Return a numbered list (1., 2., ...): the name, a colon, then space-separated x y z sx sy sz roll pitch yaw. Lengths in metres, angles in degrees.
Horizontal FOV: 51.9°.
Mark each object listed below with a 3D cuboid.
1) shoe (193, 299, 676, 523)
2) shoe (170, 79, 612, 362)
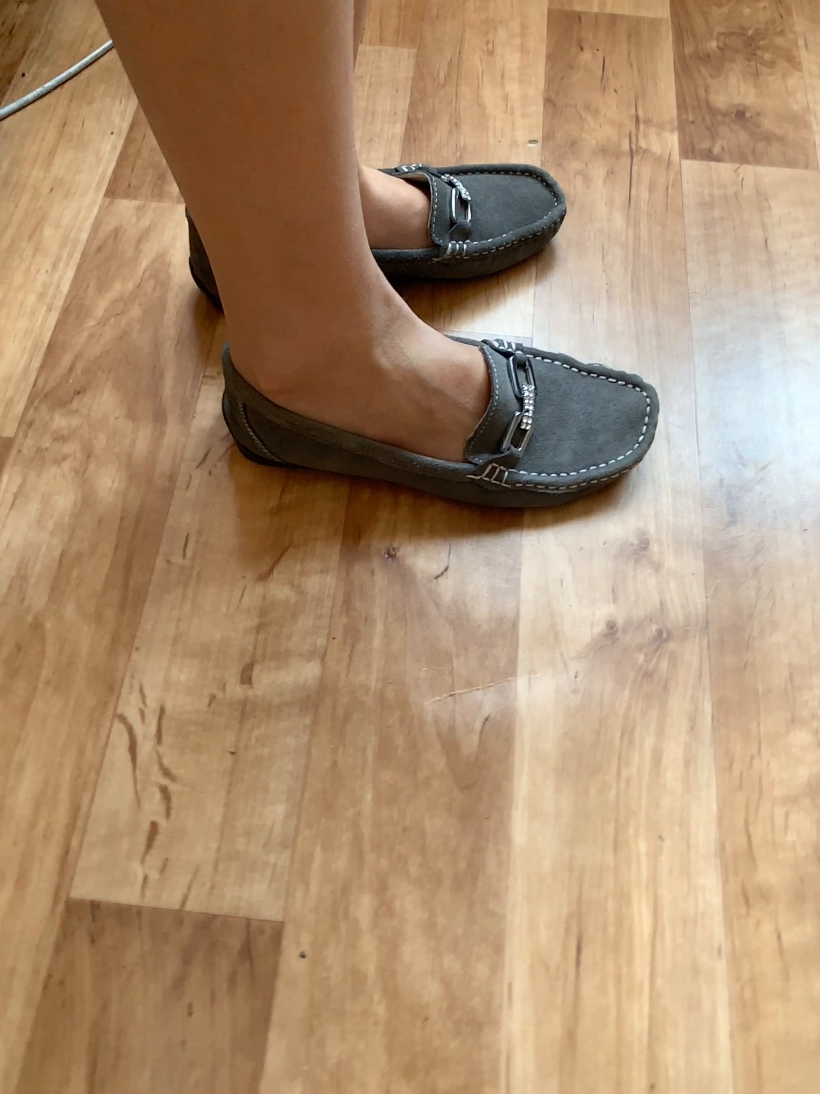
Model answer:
1. shoe: 0.014 -0.074 0.464 0.240 0.060 0.090 3 67 0
2. shoe: -0.011 -0.205 0.521 0.240 0.060 0.100 -19 65 -11
